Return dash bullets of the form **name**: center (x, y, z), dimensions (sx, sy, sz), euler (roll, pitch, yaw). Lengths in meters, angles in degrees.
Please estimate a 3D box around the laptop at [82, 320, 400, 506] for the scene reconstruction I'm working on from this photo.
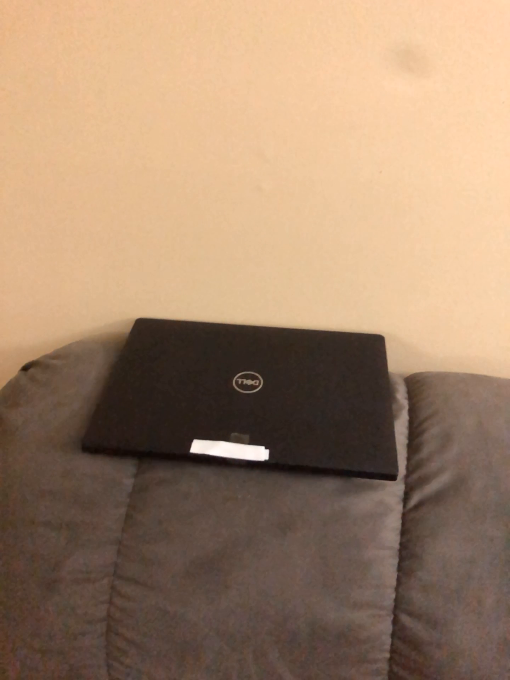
- **laptop**: center (-0.008, 0.069, 0.659), dimensions (0.326, 0.030, 0.215), euler (5, 40, 7)
